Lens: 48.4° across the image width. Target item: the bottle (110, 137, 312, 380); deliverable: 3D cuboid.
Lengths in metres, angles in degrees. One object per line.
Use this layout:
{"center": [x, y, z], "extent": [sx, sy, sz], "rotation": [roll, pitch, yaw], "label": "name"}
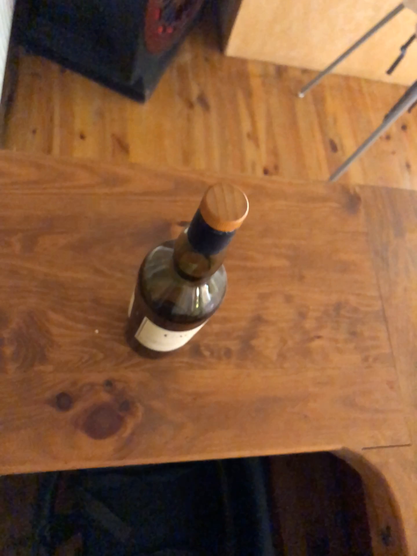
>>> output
{"center": [-0.024, 0.012, 0.413], "extent": [0.080, 0.299, 0.070], "rotation": [-35, 81, -26], "label": "bottle"}
